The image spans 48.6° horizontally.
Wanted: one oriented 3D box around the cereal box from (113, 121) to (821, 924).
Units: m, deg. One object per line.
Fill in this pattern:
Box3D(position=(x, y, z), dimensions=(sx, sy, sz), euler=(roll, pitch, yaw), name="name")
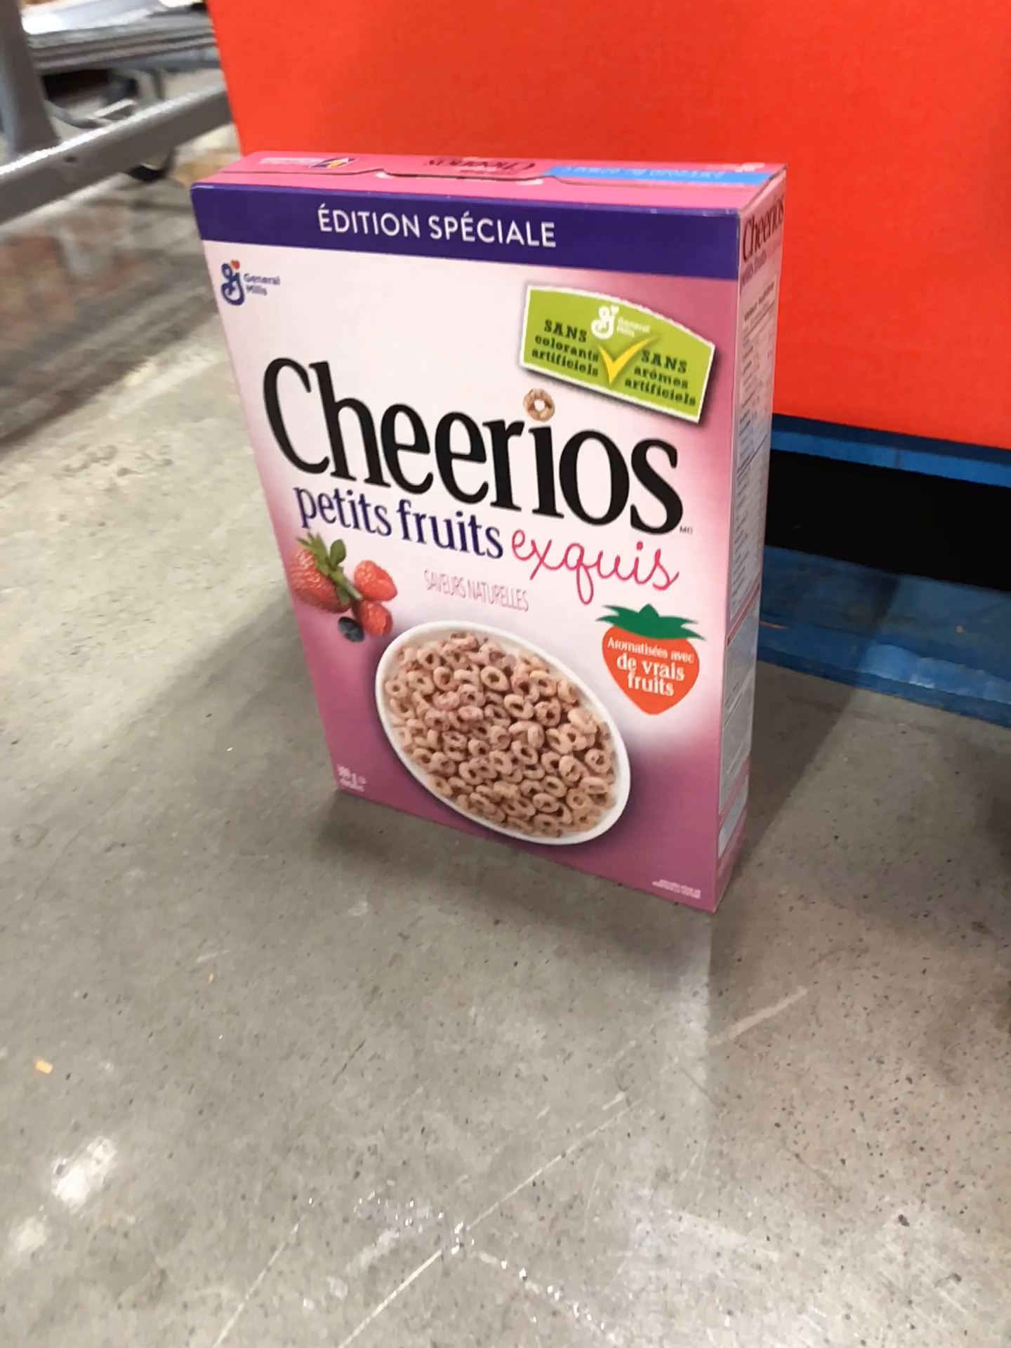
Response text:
Box3D(position=(-0.008, -0.052, 0.431), dimensions=(0.220, 0.279, 0.060), euler=(15, 43, 26), name="cereal box")
